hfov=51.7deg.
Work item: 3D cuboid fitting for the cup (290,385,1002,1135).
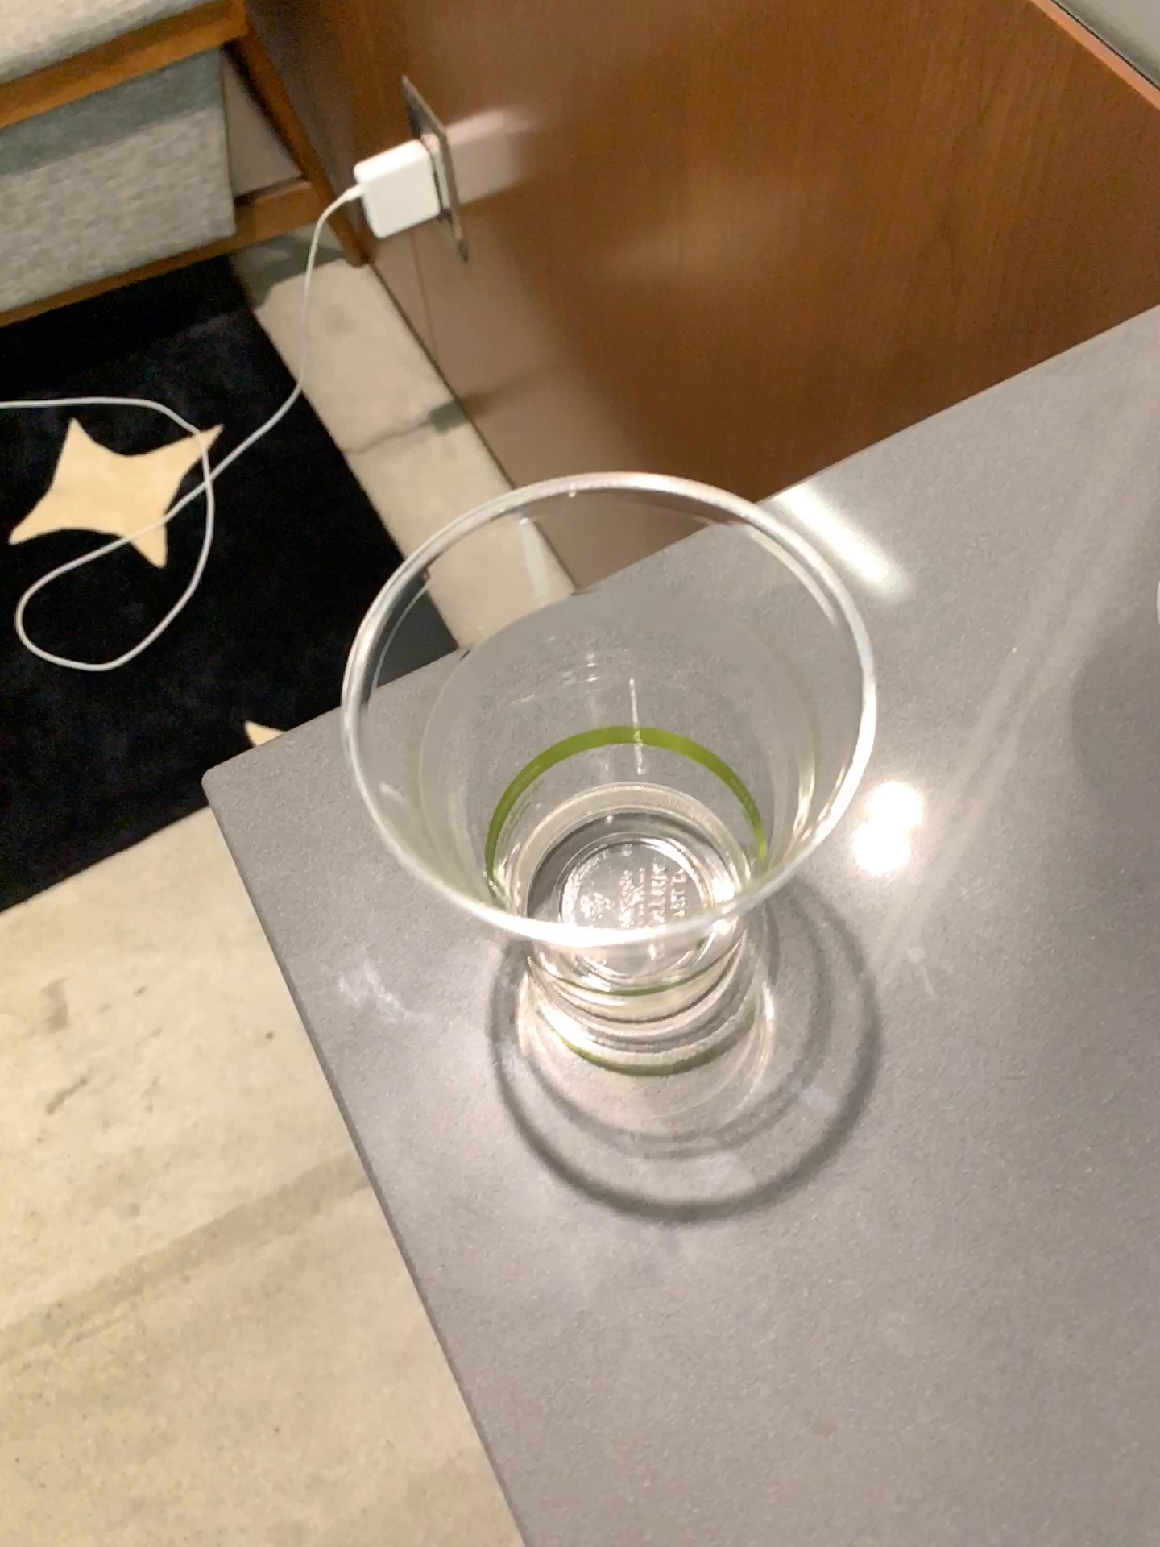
[{"bbox_3d":[0.011,0.006,0.257,0.090,0.120,0.090,-1,65,3],"label":"cup"}]
